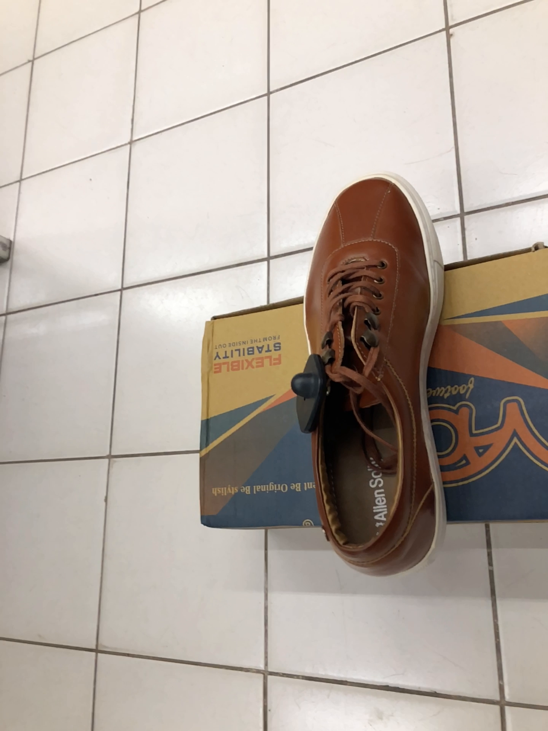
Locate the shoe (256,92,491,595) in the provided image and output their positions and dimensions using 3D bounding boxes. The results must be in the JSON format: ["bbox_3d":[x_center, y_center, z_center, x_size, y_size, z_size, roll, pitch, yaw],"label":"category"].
[{"bbox_3d":[0.062,-0.008,0.392,0.100,0.110,0.280,-9,74,26],"label":"shoe"}]
